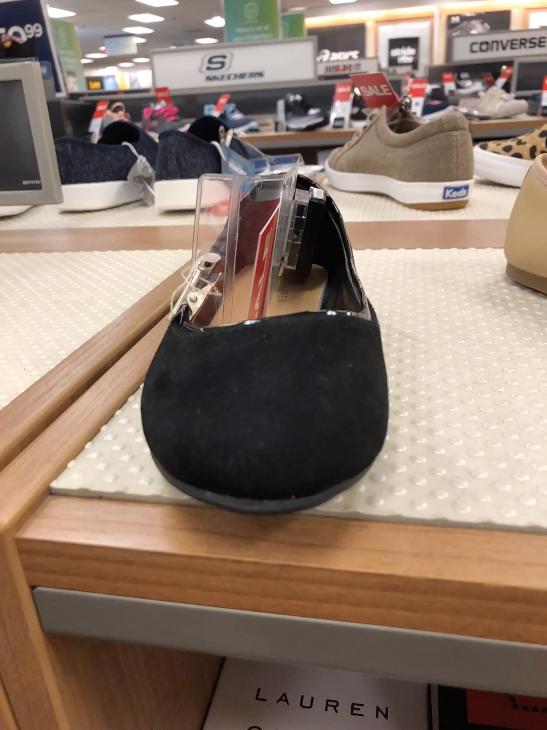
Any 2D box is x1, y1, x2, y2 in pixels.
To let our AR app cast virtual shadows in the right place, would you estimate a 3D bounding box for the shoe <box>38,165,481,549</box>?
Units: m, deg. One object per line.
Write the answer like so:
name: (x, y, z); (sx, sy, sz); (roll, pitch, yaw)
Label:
shoe: (0.007, -0.032, 0.246); (0.091, 0.064, 0.239); (-2, 23, 5)
